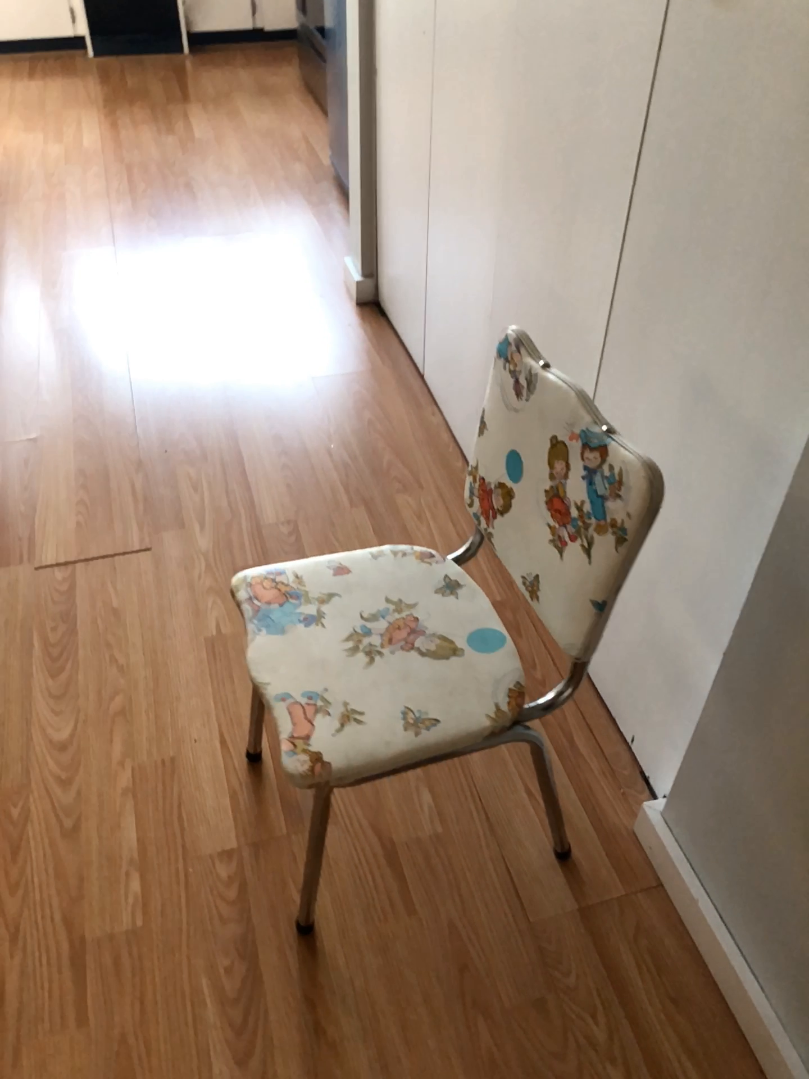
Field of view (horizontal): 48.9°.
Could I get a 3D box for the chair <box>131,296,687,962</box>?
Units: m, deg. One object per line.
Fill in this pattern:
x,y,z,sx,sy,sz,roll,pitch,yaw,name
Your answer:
-0.023,0.101,0.959,0.390,0.558,0.351,-12,43,-15,chair
